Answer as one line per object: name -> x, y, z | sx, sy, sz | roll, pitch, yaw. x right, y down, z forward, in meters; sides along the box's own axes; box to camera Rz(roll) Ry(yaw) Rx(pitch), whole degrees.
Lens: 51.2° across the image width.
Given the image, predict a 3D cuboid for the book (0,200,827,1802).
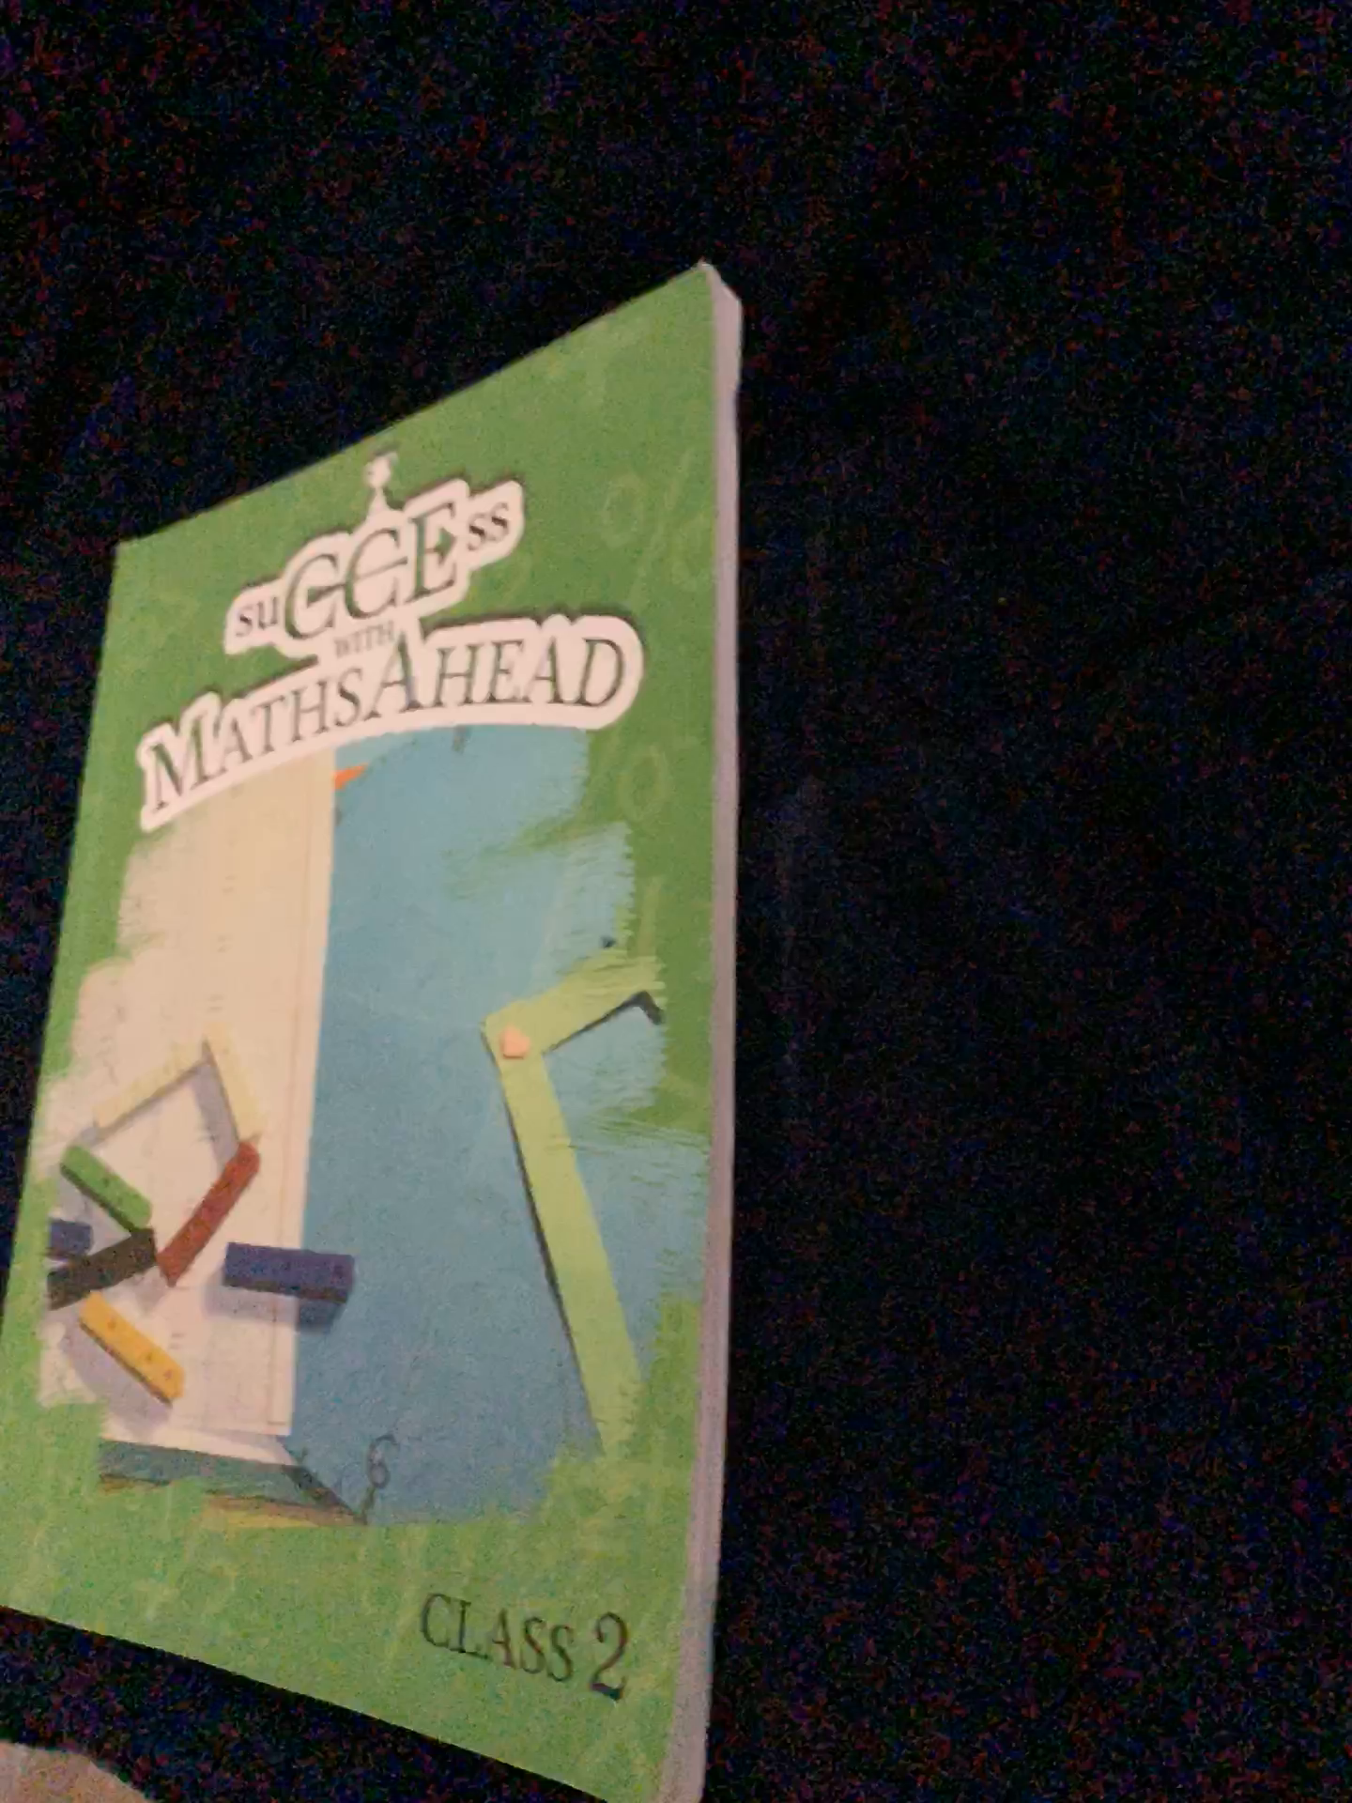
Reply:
book -> -0.074, 0.023, 0.305 | 0.231, 0.020, 0.280 | -8, 76, 36
